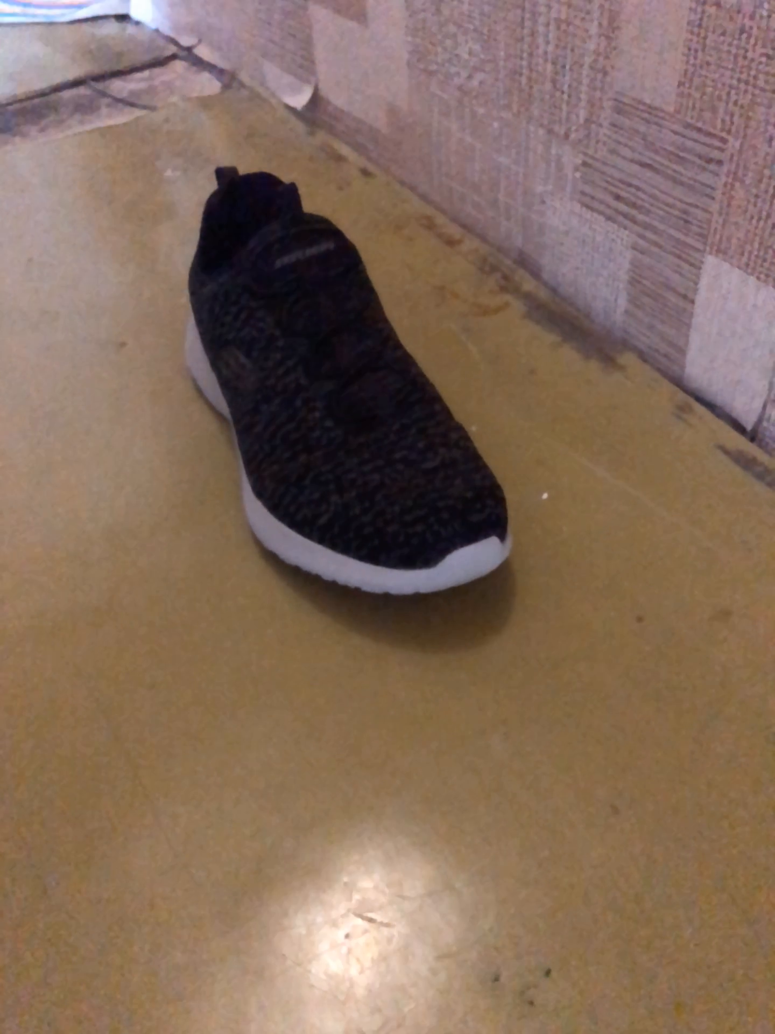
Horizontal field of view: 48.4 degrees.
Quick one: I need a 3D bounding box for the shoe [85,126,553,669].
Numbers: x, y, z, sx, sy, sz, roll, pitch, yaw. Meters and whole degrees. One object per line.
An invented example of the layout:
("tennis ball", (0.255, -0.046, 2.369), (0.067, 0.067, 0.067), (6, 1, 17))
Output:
("shoe", (-0.057, -0.093, 0.484), (0.130, 0.119, 0.321), (-20, 47, -16))
